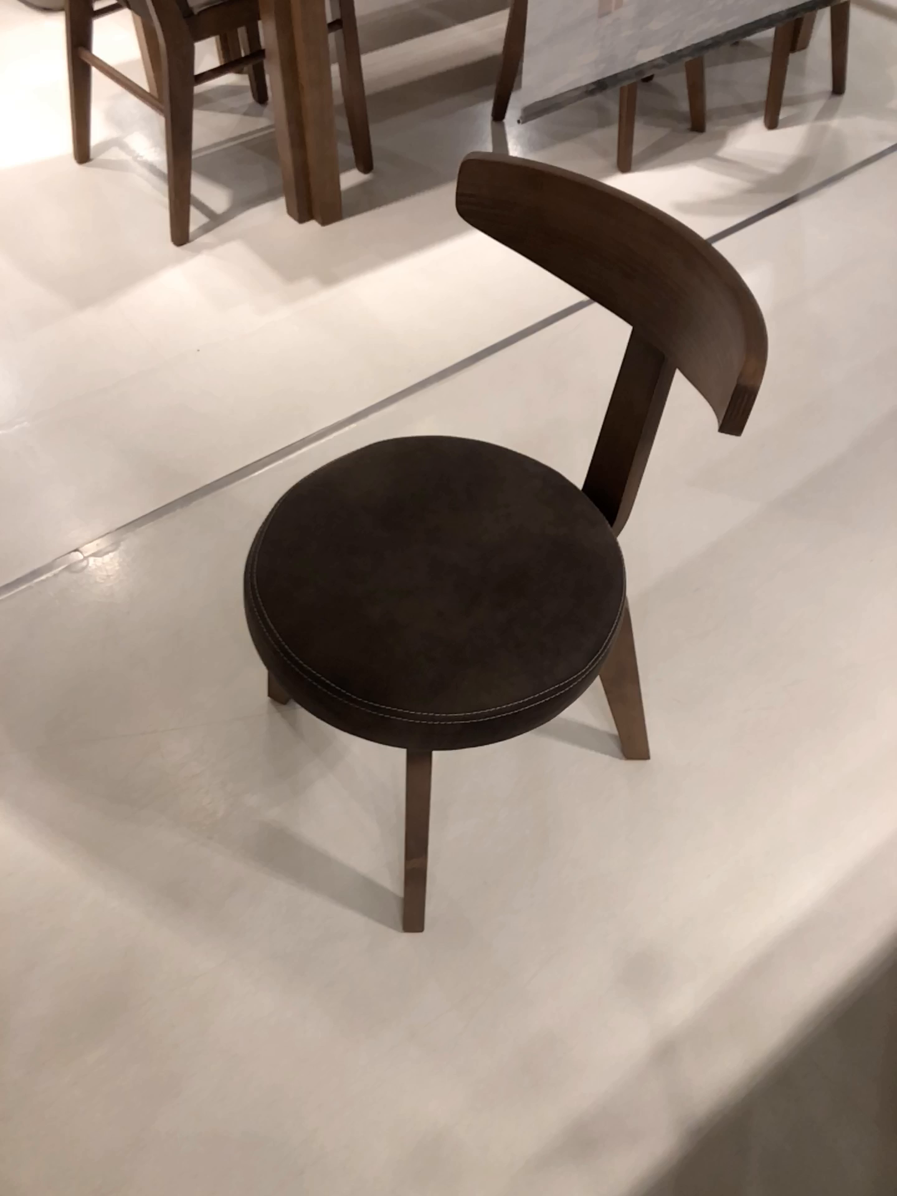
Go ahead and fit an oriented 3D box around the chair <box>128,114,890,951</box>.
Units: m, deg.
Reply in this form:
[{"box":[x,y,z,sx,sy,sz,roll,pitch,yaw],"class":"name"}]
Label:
[{"box":[0.035,-0.051,1.138,0.491,0.705,0.472,-26,55,-20],"class":"chair"}]
